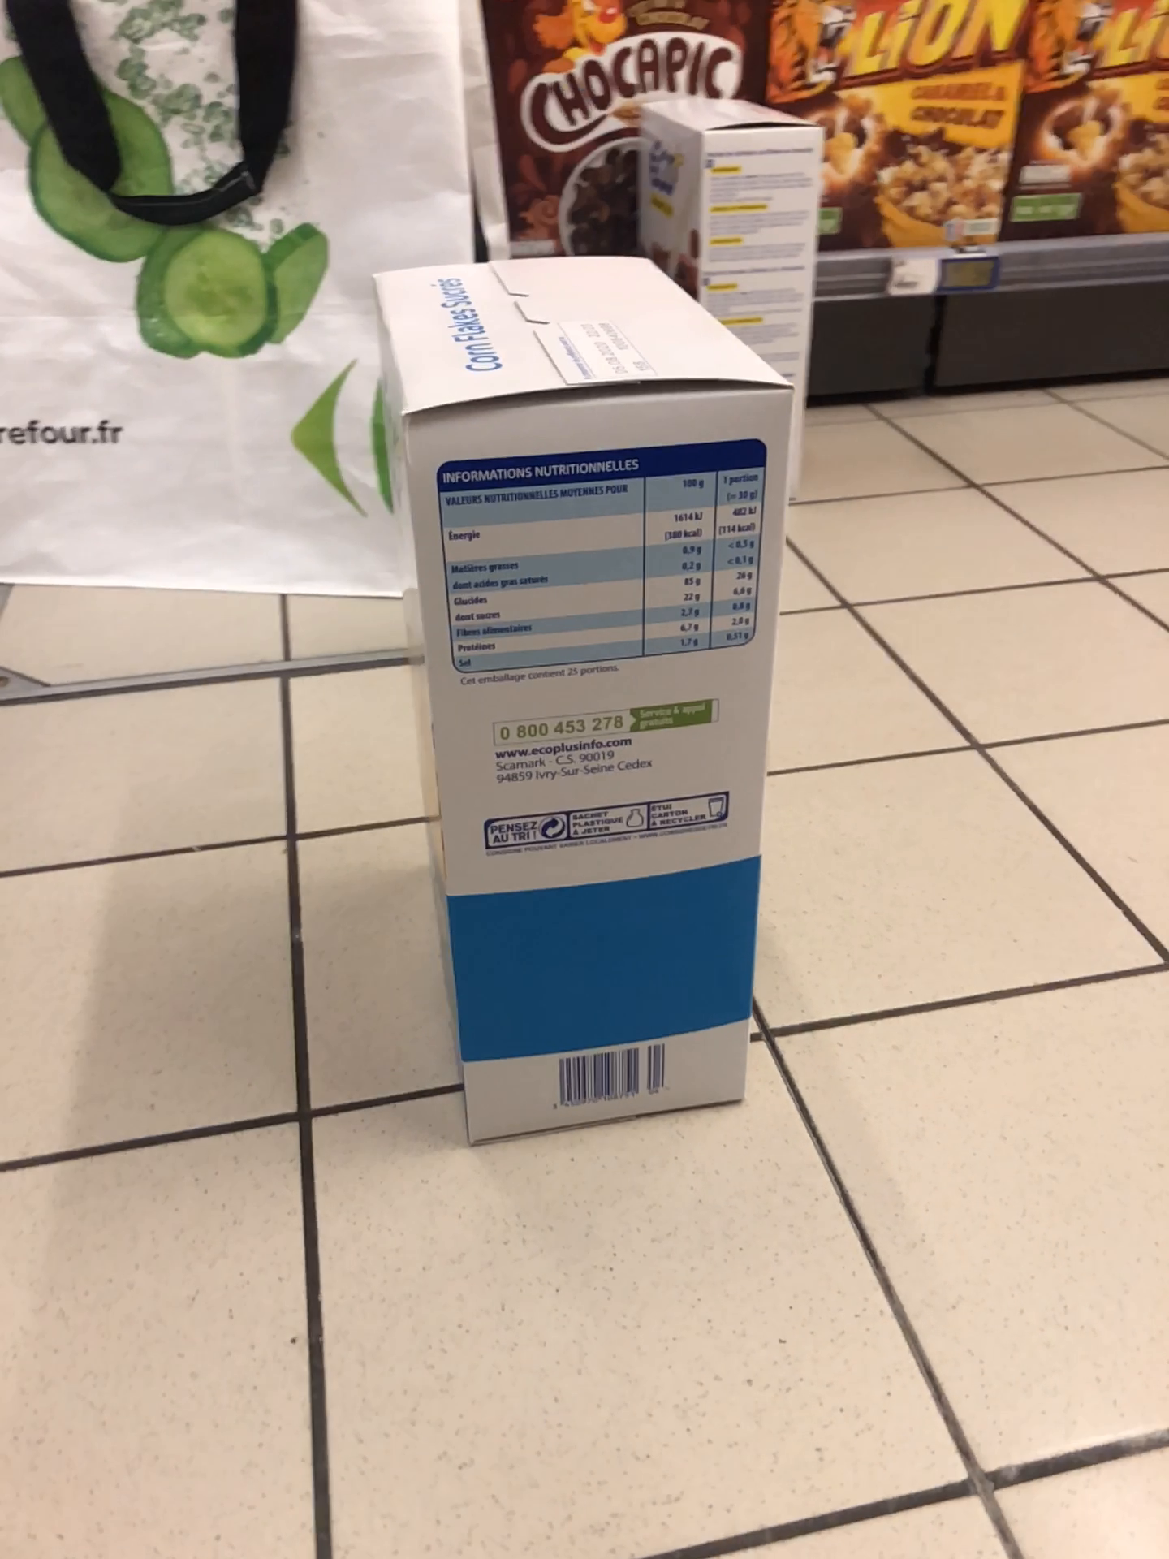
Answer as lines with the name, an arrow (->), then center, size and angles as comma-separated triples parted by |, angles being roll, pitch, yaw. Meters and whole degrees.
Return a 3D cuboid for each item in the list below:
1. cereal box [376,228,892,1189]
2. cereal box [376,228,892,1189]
cereal box -> 0.005, -0.035, 0.503 | 0.130, 0.298, 0.211 | -7, 32, -8
cereal box -> 0.005, -0.035, 0.503 | 0.130, 0.298, 0.211 | -7, 32, -8
